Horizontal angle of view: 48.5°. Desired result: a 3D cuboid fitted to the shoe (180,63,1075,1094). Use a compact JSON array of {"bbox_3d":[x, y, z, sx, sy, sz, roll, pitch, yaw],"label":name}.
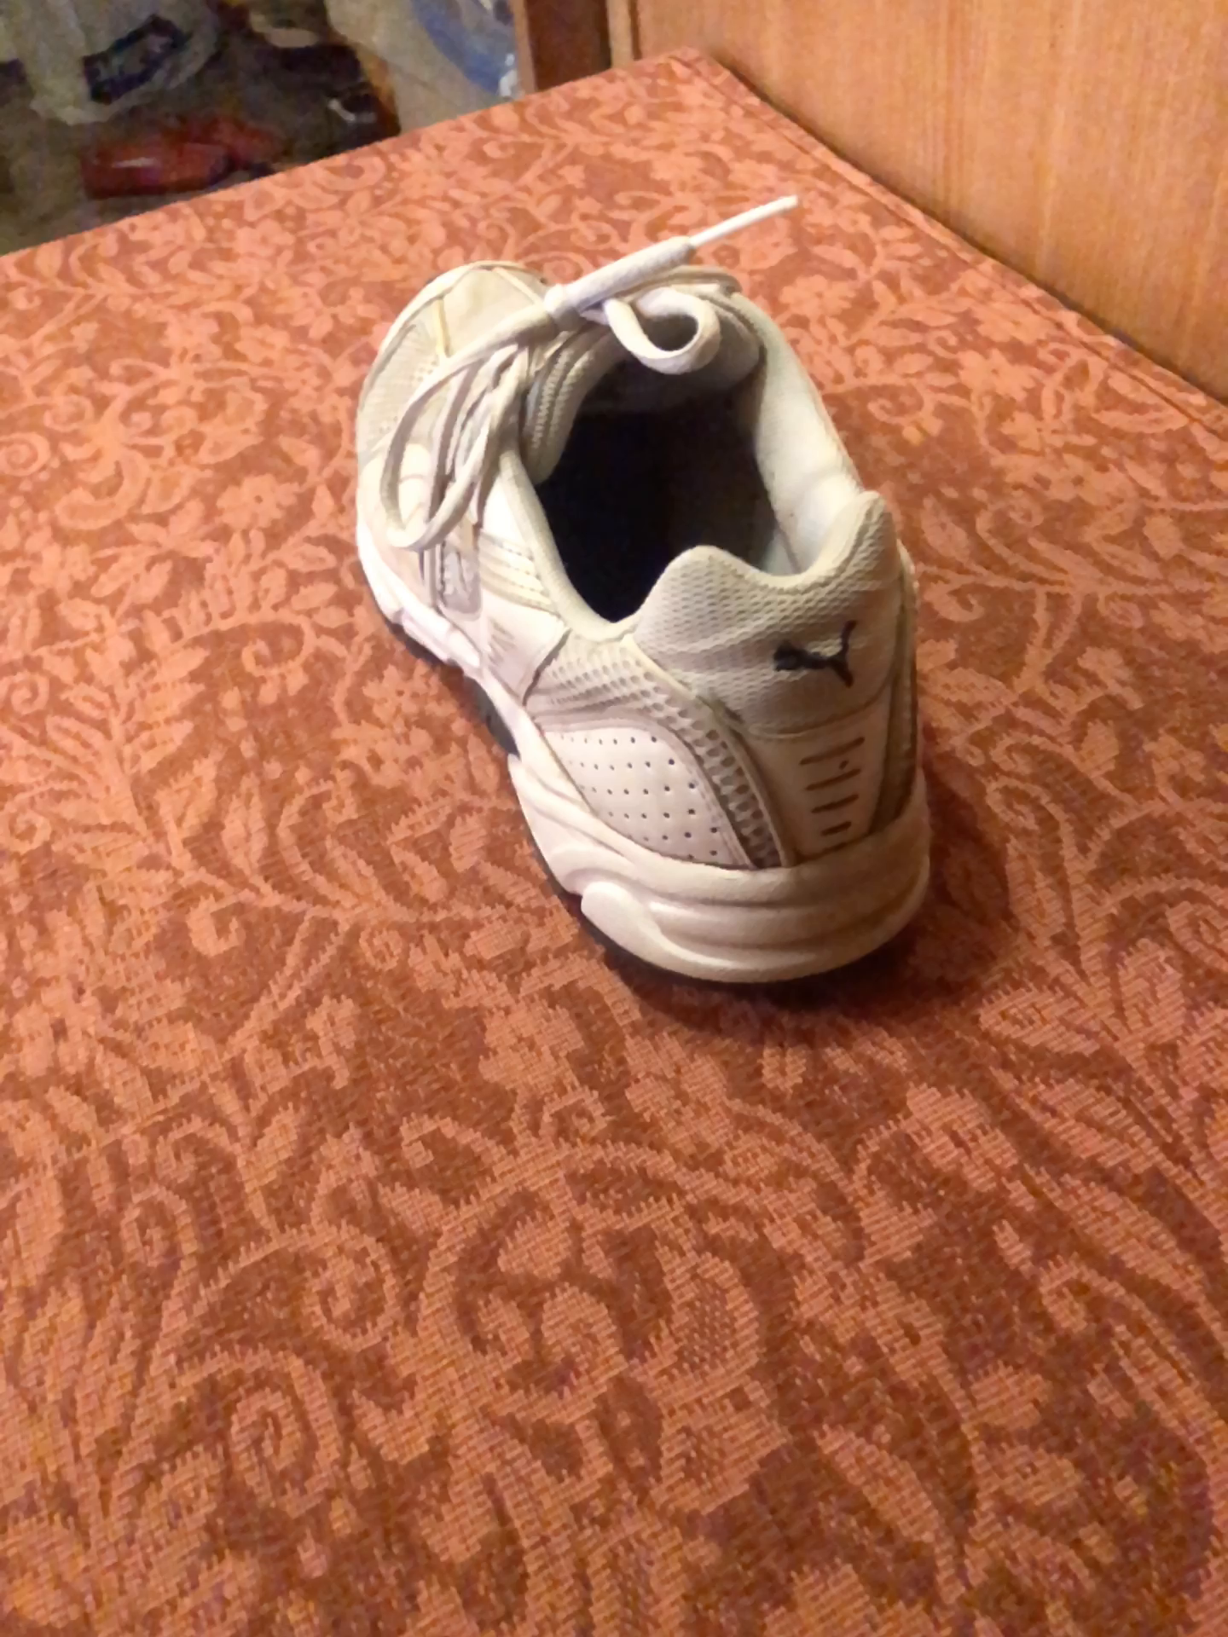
[{"bbox_3d":[-0.020,-0.088,0.352,0.100,0.100,0.291,-21,48,-11],"label":"shoe"}]
